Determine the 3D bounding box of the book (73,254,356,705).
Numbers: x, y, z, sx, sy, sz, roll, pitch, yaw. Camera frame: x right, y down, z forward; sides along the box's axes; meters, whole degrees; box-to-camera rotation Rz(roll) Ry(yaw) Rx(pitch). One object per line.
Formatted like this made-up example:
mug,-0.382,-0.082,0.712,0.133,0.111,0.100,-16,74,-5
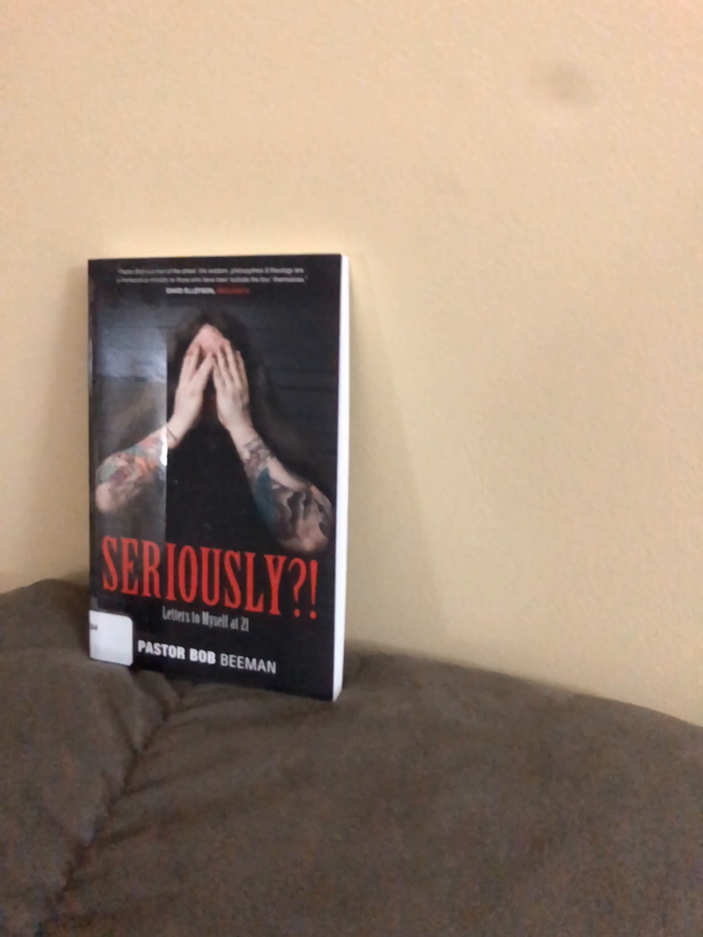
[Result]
book,-0.069,0.003,0.383,0.137,0.205,0.023,4,8,18
